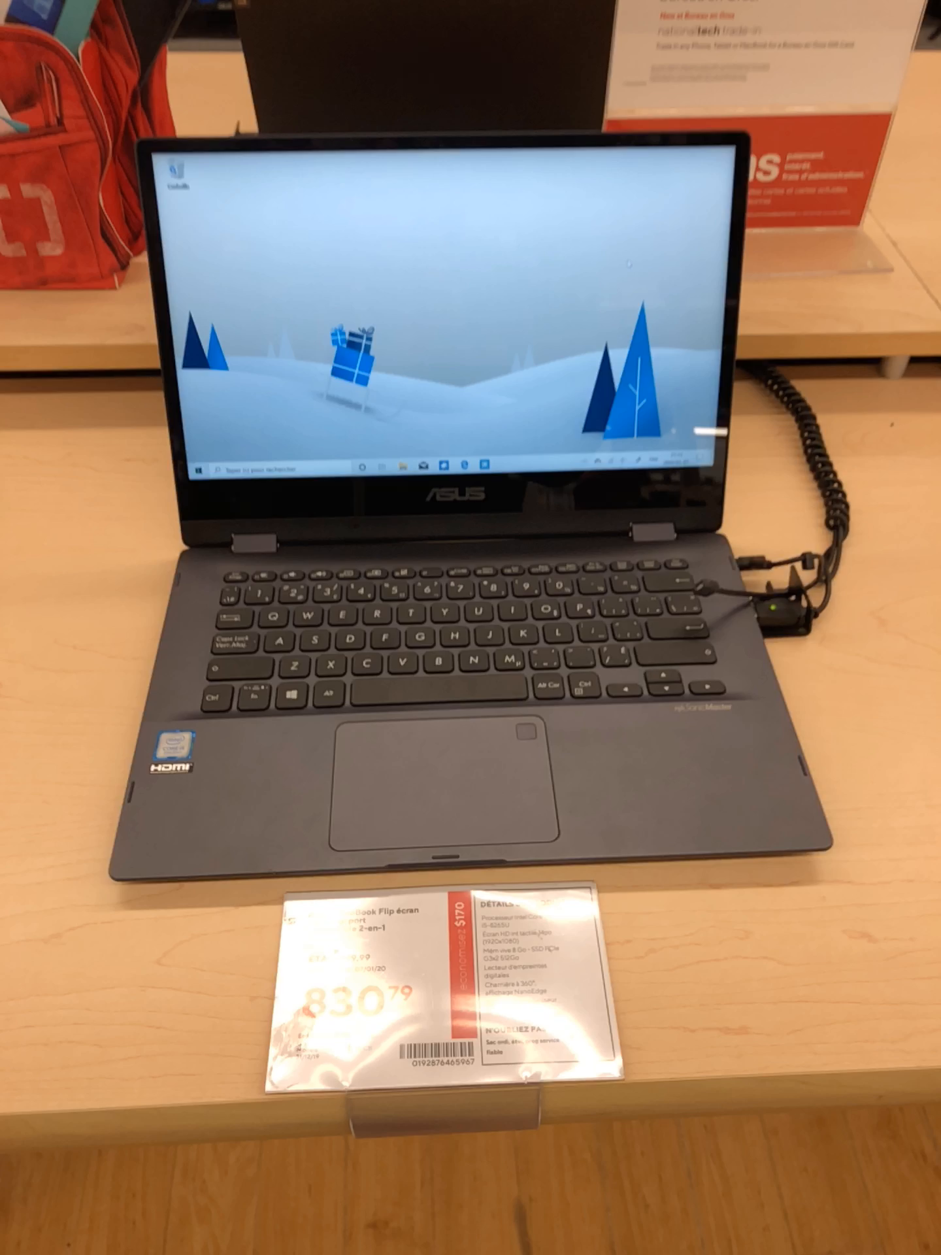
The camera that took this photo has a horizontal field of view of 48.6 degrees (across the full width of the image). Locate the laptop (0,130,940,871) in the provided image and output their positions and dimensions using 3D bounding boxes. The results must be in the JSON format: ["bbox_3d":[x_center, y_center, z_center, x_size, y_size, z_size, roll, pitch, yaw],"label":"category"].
[{"bbox_3d":[-0.004,-0.077,0.499,0.312,0.188,0.314,-2,46,-2],"label":"laptop"}]
